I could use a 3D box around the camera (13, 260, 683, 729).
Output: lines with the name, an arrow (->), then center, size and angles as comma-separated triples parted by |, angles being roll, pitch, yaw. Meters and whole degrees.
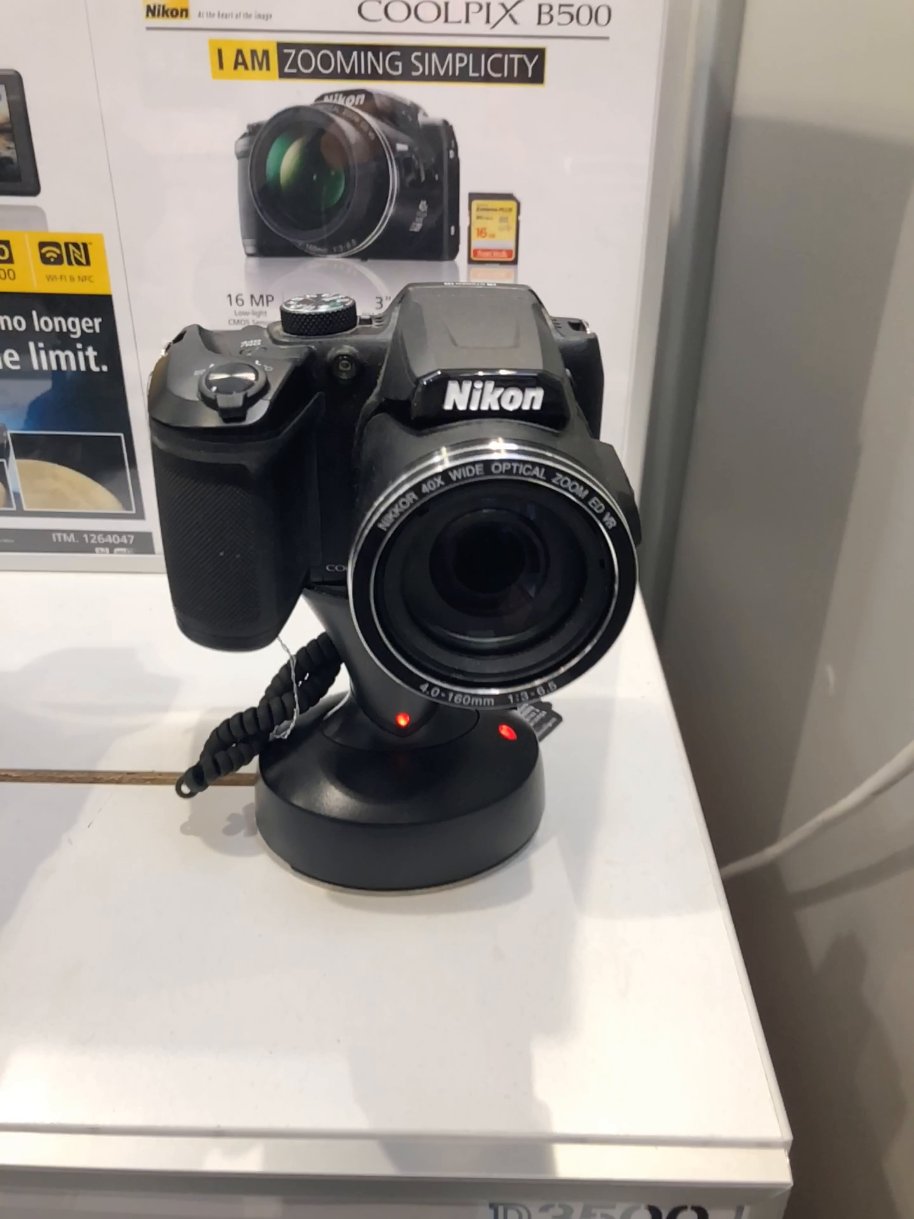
camera -> -0.021, -0.032, 0.240 | 0.120, 0.079, 0.091 | -1, 30, -2
